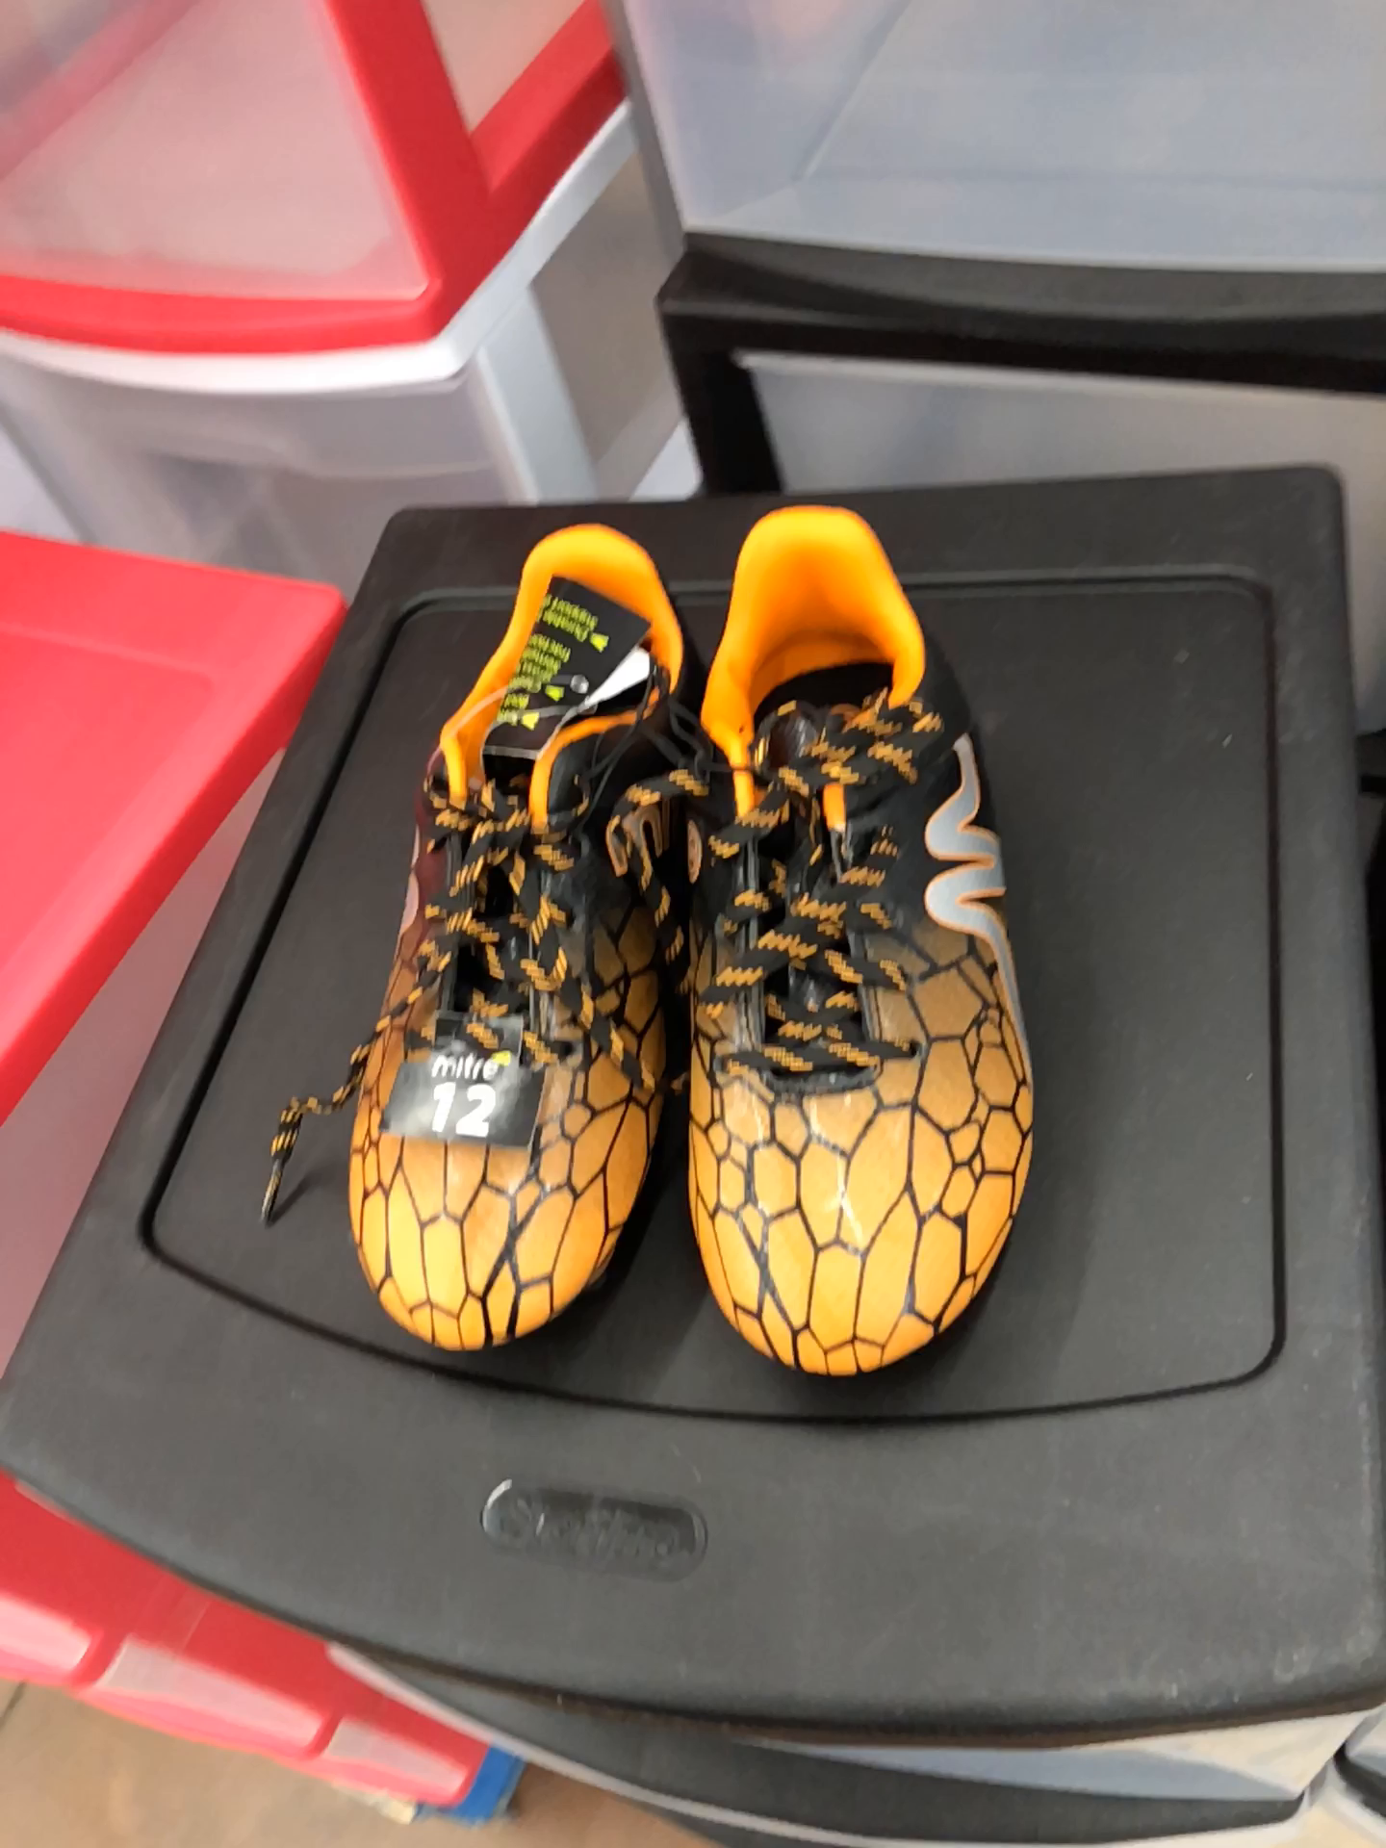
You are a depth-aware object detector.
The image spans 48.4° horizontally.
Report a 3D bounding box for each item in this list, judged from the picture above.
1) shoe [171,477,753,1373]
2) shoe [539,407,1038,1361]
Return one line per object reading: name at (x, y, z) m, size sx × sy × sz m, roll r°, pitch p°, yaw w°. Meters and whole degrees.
shoe at (-0.041, -0.005, 0.371) m, size 0.080 × 0.080 × 0.200 m, roll -2°, pitch 55°, yaw 14°
shoe at (0.029, -0.015, 0.337) m, size 0.080 × 0.070 × 0.200 m, roll -3°, pitch 55°, yaw 14°
